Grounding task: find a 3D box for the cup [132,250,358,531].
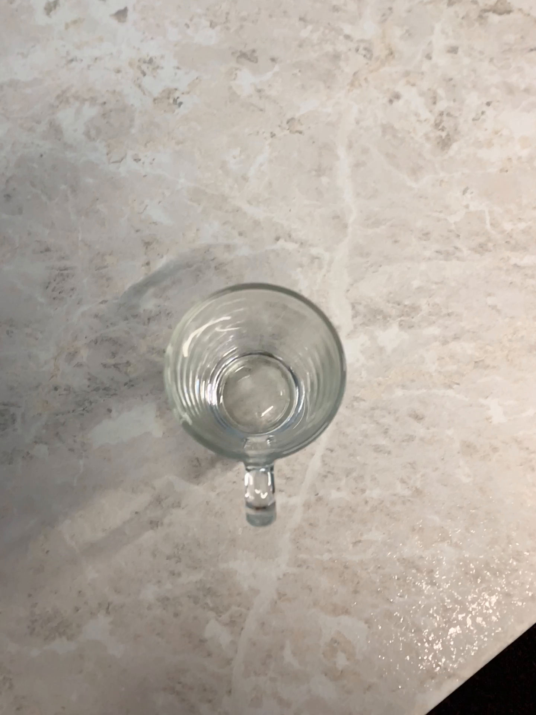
[{"bbox_3d":[-0.009,0.020,0.283,0.089,0.097,0.115,3,80,0],"label":"cup"}]
